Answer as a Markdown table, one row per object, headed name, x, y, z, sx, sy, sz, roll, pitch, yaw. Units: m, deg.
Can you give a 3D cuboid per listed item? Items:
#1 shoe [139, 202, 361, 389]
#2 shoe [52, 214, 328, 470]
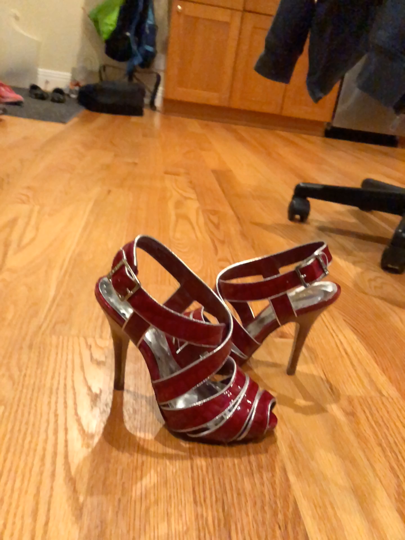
| name | x | y | z | sx | sy | sz | roll | pitch | yaw |
| --- | --- | --- | --- | --- | --- | --- | --- | --- | --- |
| shoe | 0.044 | 0.023 | 0.478 | 0.193 | 0.141 | 0.092 | 10 | 23 | 4 |
| shoe | -0.013 | 0.055 | 0.384 | 0.198 | 0.151 | 0.092 | 12 | 23 | 7 |
